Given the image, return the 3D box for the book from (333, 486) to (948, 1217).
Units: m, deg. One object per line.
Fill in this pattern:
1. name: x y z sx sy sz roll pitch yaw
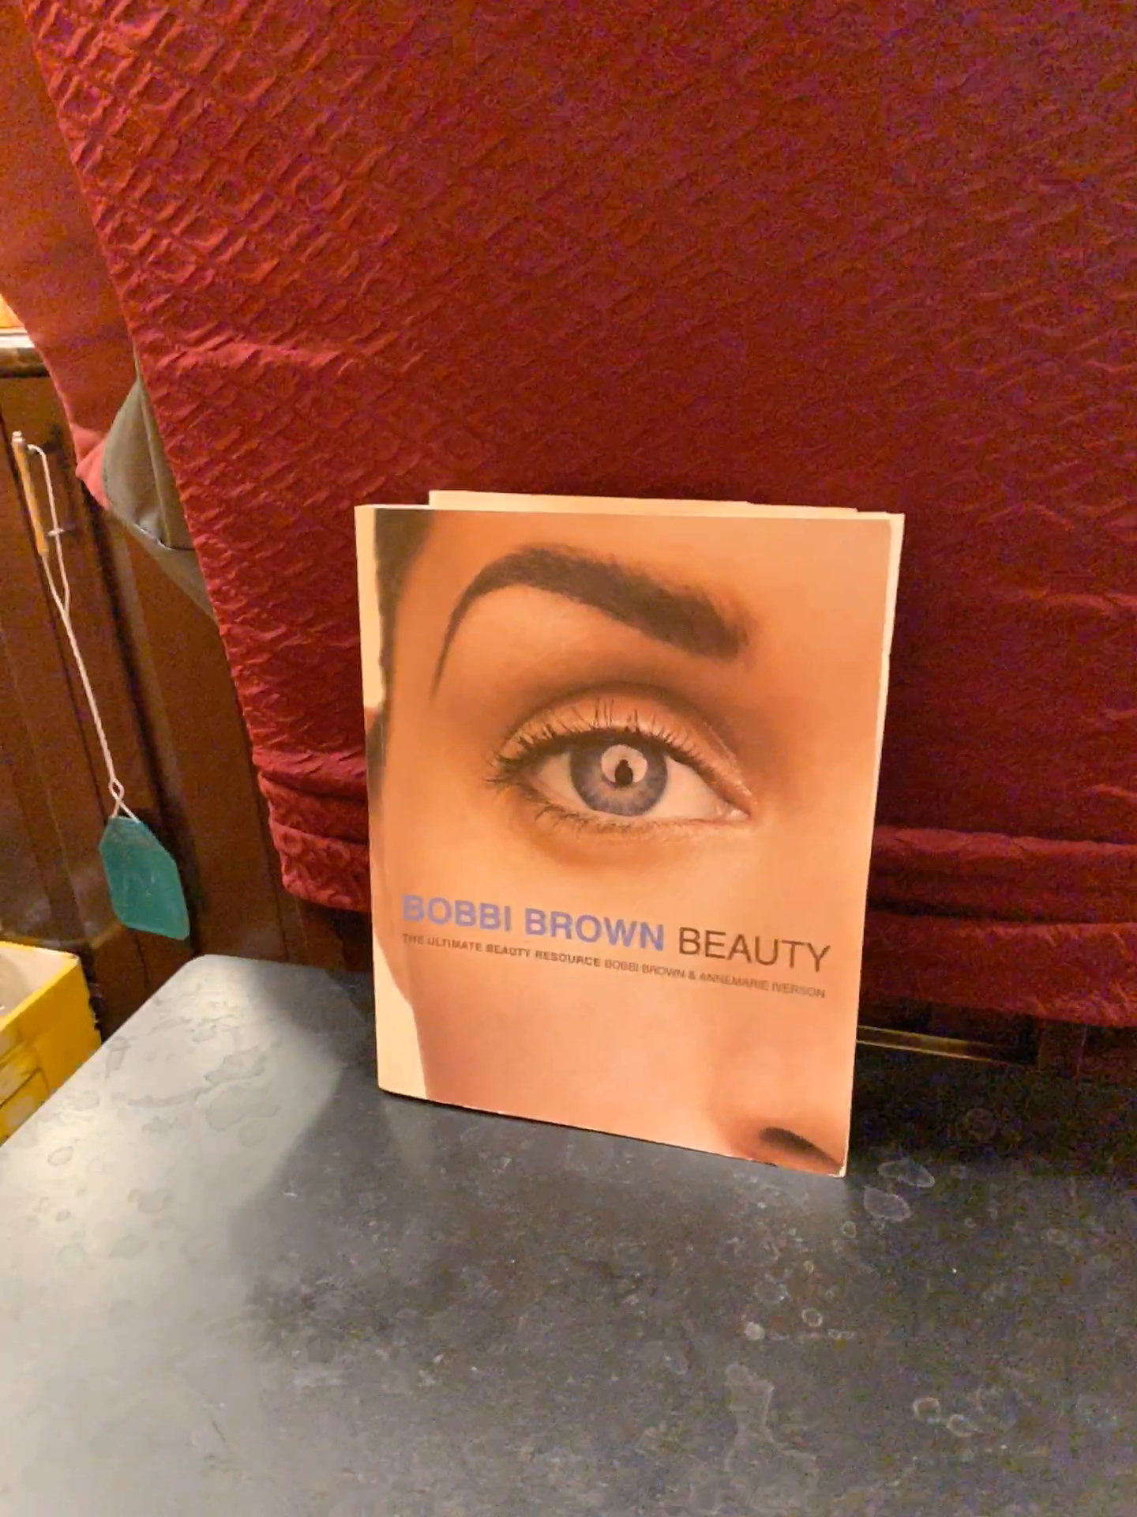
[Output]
1. book: 0.019 0.028 0.412 0.200 0.239 0.030 5 15 18
